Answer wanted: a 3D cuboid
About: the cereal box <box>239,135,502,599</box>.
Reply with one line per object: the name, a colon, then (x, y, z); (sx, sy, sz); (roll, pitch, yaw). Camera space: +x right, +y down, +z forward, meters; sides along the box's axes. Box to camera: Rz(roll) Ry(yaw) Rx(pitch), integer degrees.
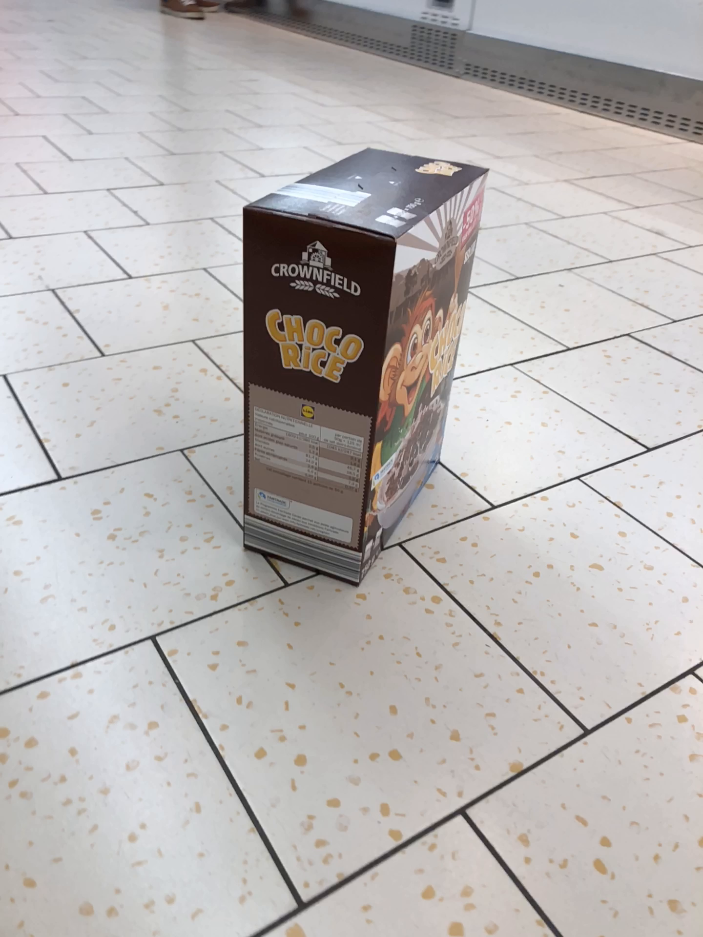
cereal box: (0.013, -0.081, 0.571); (0.100, 0.268, 0.201); (17, 35, 17)
